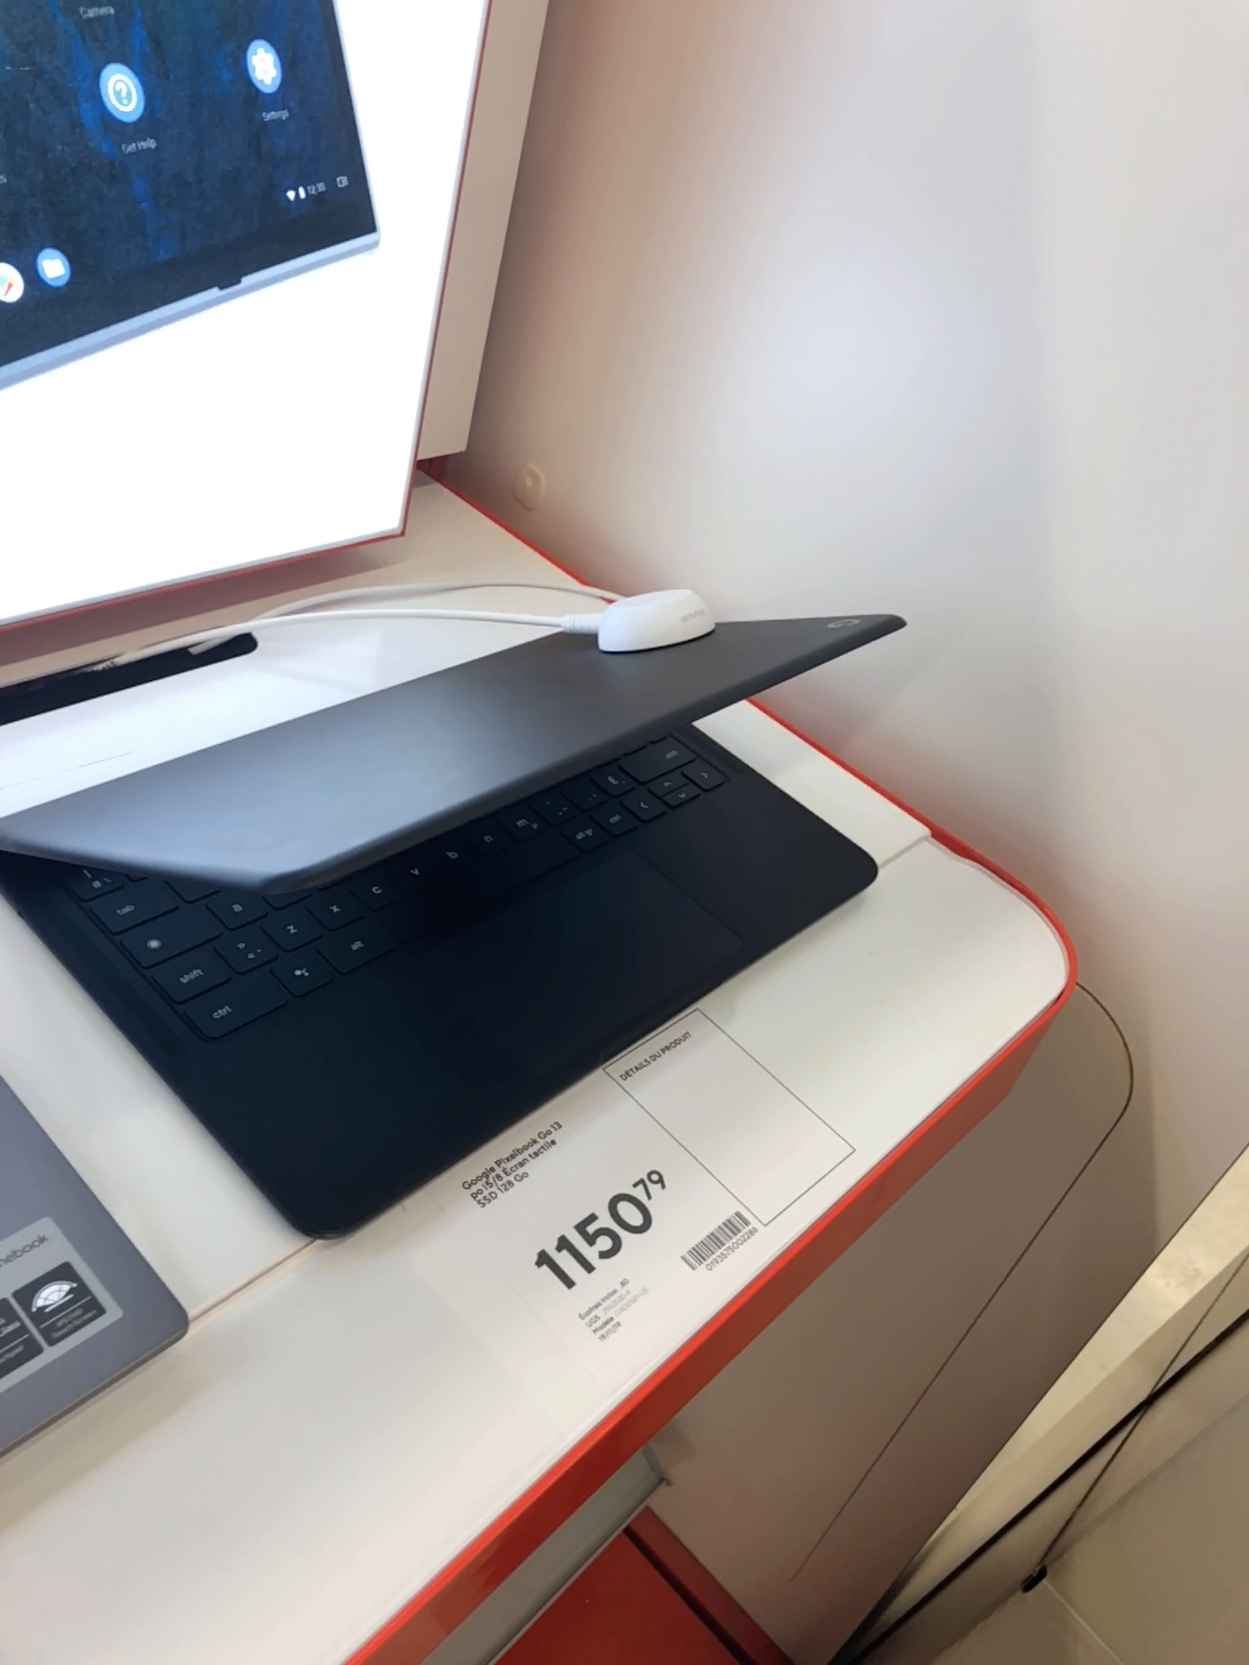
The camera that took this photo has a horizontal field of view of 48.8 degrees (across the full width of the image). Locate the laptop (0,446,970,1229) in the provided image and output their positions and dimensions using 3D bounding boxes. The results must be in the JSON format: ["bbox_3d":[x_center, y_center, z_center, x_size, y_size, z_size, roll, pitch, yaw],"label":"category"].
[{"bbox_3d":[-0.046,-0.030,0.513,0.199,0.106,0.299,37,41,25],"label":"laptop"}]
